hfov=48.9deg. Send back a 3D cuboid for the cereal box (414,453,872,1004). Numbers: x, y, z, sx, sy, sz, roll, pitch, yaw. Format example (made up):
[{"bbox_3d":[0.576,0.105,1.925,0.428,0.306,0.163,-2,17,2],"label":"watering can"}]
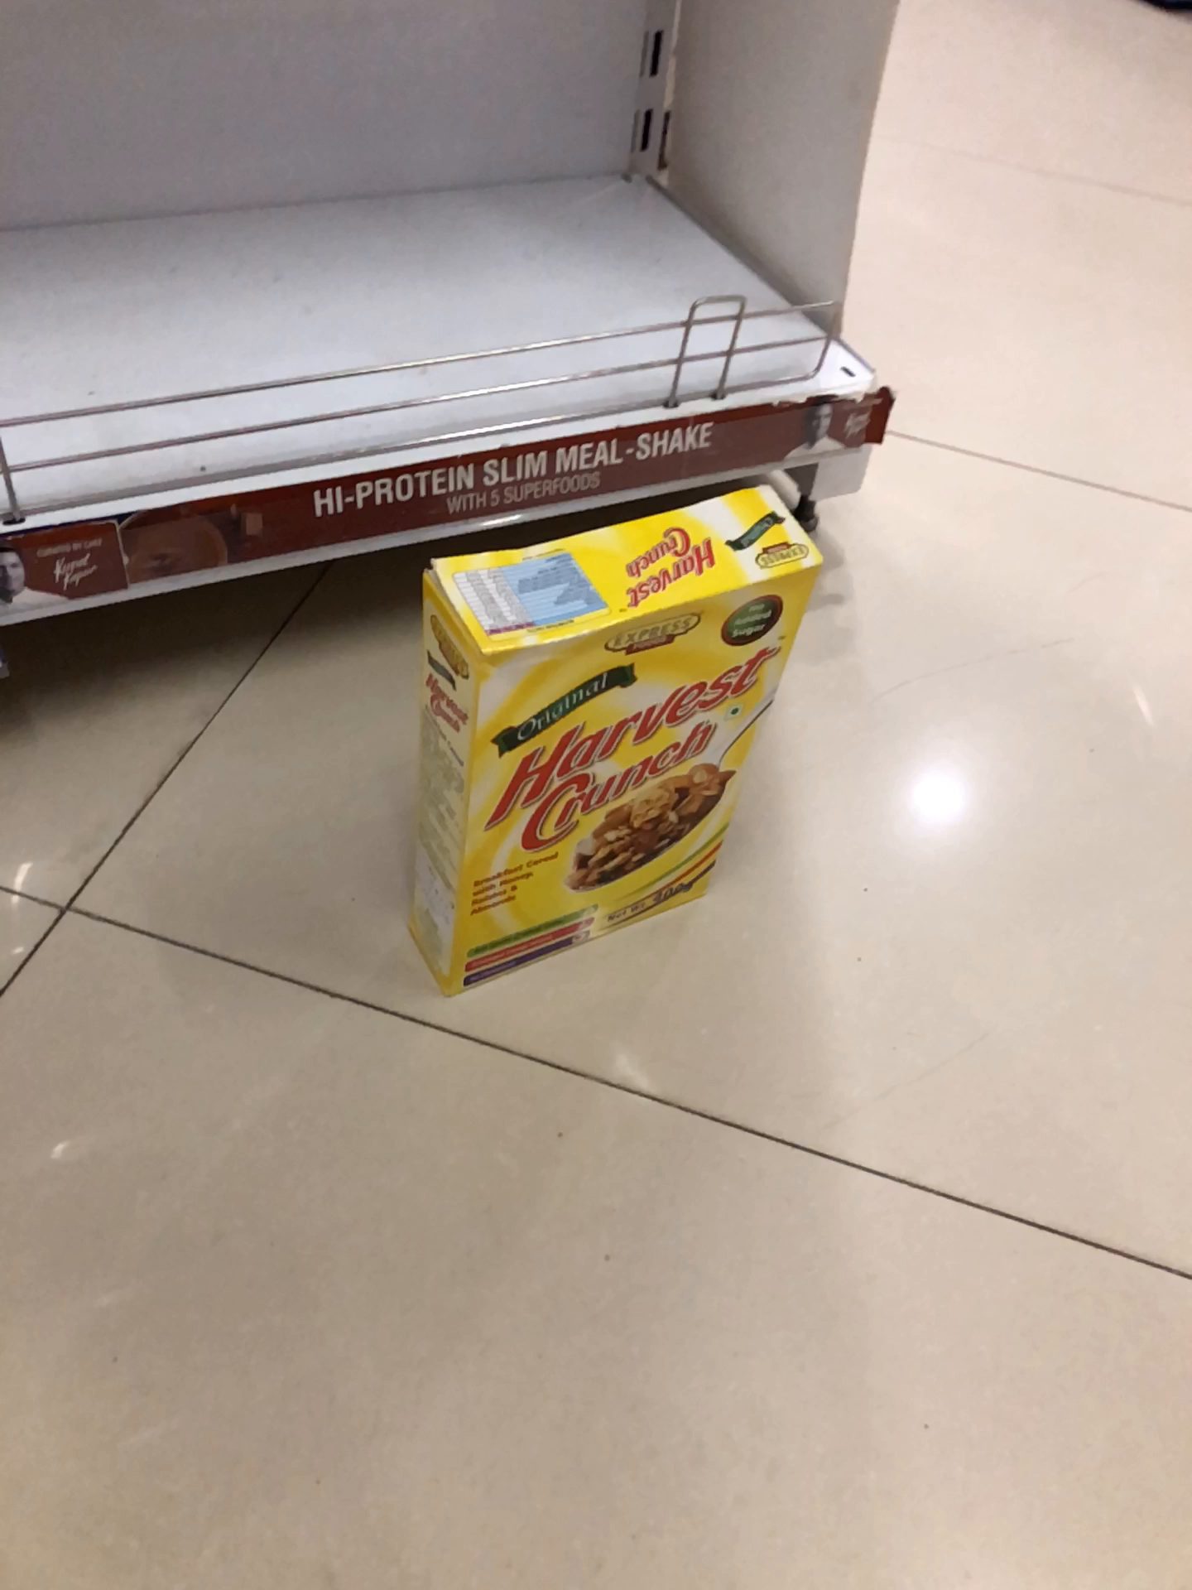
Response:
[{"bbox_3d":[0.010,-0.022,0.542,0.161,0.209,0.050,-20,53,-25],"label":"cereal box"}]
